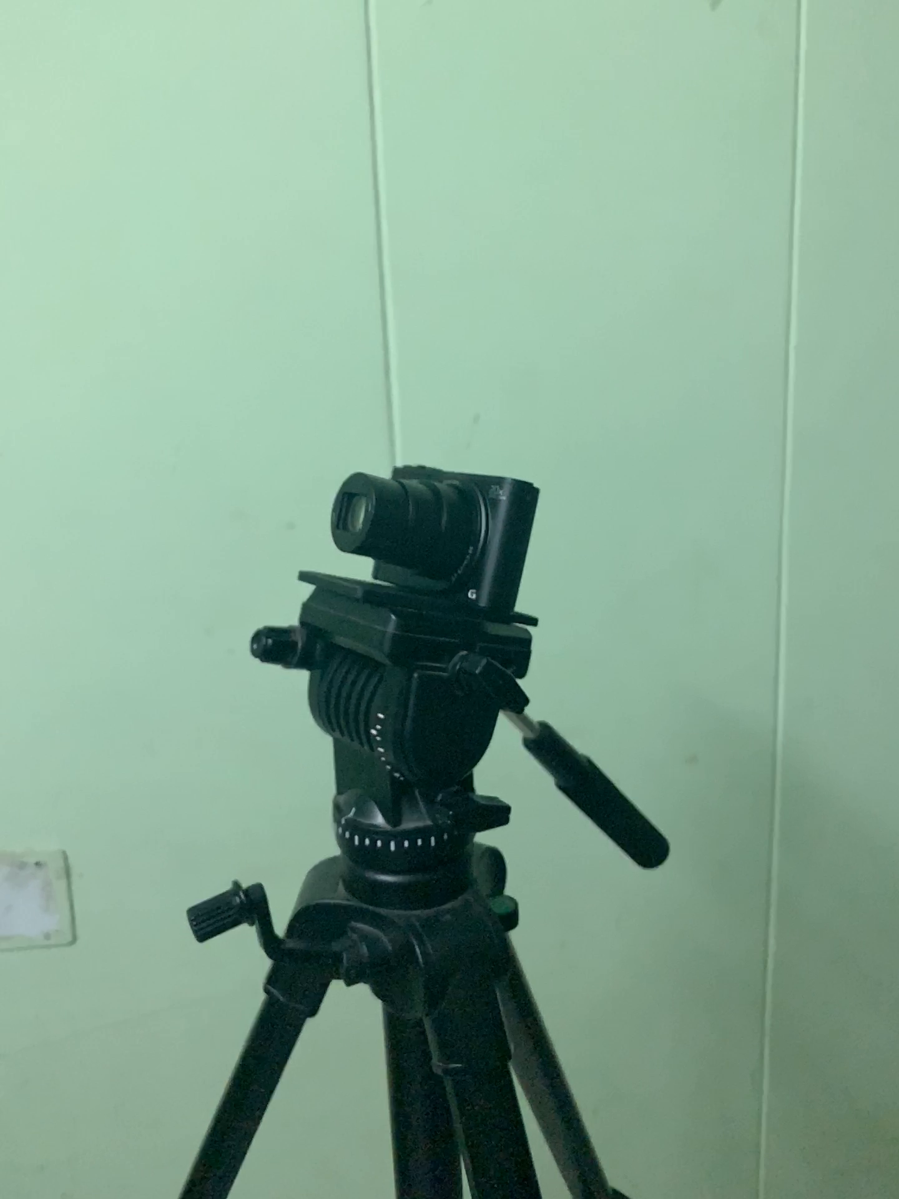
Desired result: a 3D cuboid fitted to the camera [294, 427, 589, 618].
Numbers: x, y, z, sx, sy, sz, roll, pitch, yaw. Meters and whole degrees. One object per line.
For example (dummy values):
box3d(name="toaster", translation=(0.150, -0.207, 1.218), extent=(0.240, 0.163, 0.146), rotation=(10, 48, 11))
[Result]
box3d(name="camera", translation=(-0.007, -0.034, 0.395), extent=(0.067, 0.060, 0.102), rotation=(10, 3, -38))
